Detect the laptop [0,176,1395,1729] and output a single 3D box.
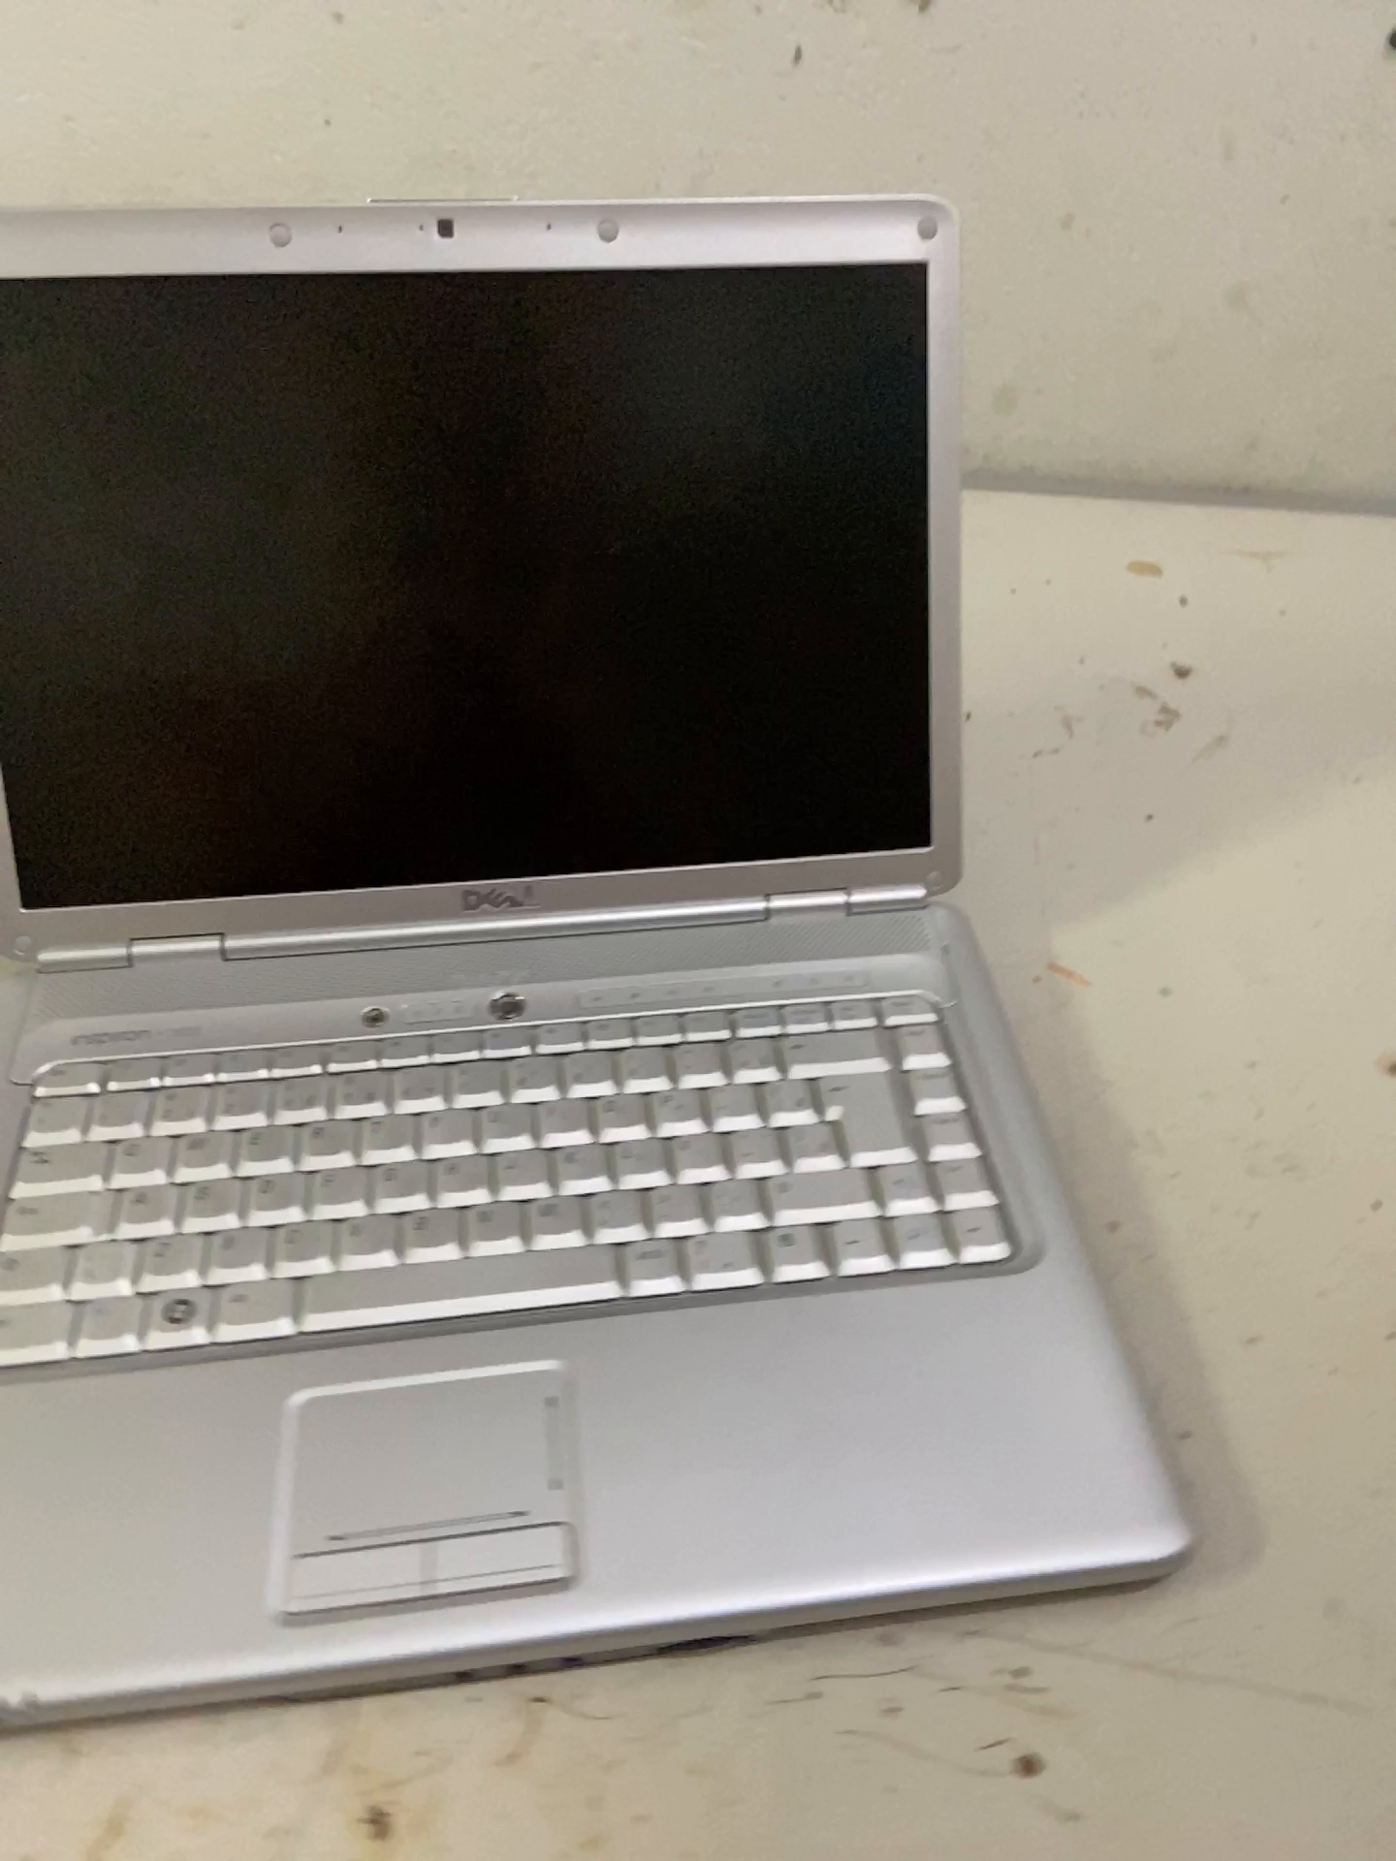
[{"bbox_3d":[-0.063,-0.037,0.417,0.349,0.208,0.379,-4,46,-7],"label":"laptop"}]
